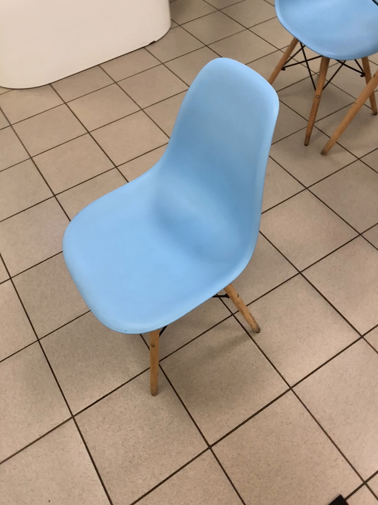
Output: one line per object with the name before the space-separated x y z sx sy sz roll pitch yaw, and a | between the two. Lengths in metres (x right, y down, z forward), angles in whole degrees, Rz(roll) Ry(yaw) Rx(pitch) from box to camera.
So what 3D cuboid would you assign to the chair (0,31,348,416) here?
chair | -0.047 -0.024 1.126 0.571 0.777 0.472 -29 58 -16
